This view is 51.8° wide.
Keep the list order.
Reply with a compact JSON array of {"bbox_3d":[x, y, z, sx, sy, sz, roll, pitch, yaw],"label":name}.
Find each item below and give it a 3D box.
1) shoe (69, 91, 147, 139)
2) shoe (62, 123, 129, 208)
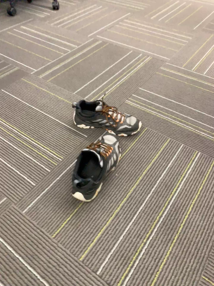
[{"bbox_3d":[0.005,-0.120,0.934,0.300,0.100,0.110,12,50,10],"label":"shoe"},{"bbox_3d":[-0.031,0.070,0.822,0.110,0.100,0.301,20,52,17],"label":"shoe"}]
